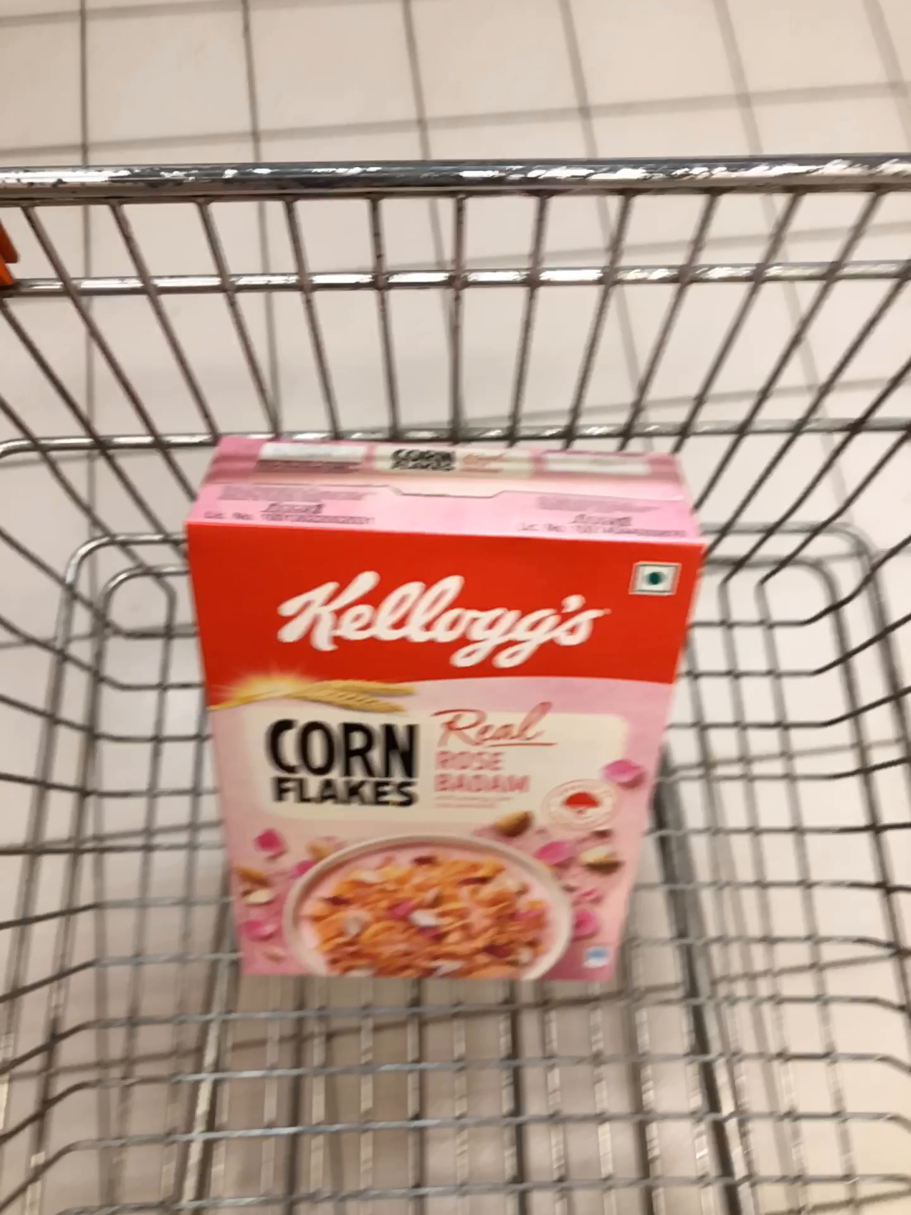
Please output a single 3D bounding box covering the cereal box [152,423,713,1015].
[{"bbox_3d":[-0.012,0.061,0.434,0.180,0.259,0.080,2,35,-1],"label":"cereal box"}]
